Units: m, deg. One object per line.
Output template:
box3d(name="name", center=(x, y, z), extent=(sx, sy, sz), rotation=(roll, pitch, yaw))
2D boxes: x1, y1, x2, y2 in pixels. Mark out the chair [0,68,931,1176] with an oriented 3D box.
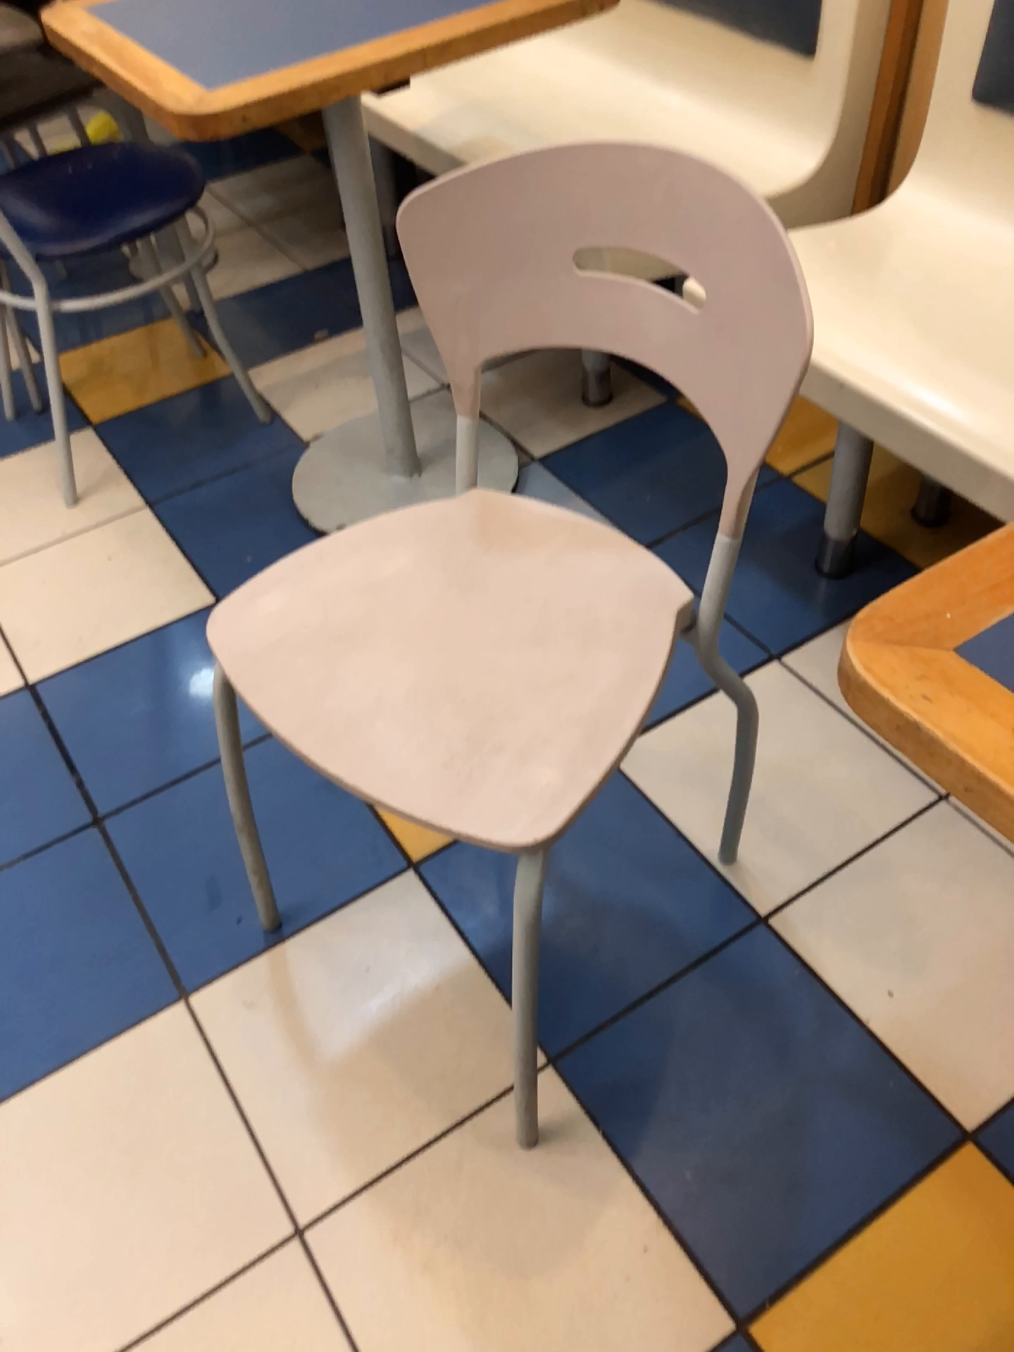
box3d(name="chair", center=(-0.016, -0.021, 1.029), extent=(0.452, 0.794, 0.472), rotation=(32, 56, 30))
